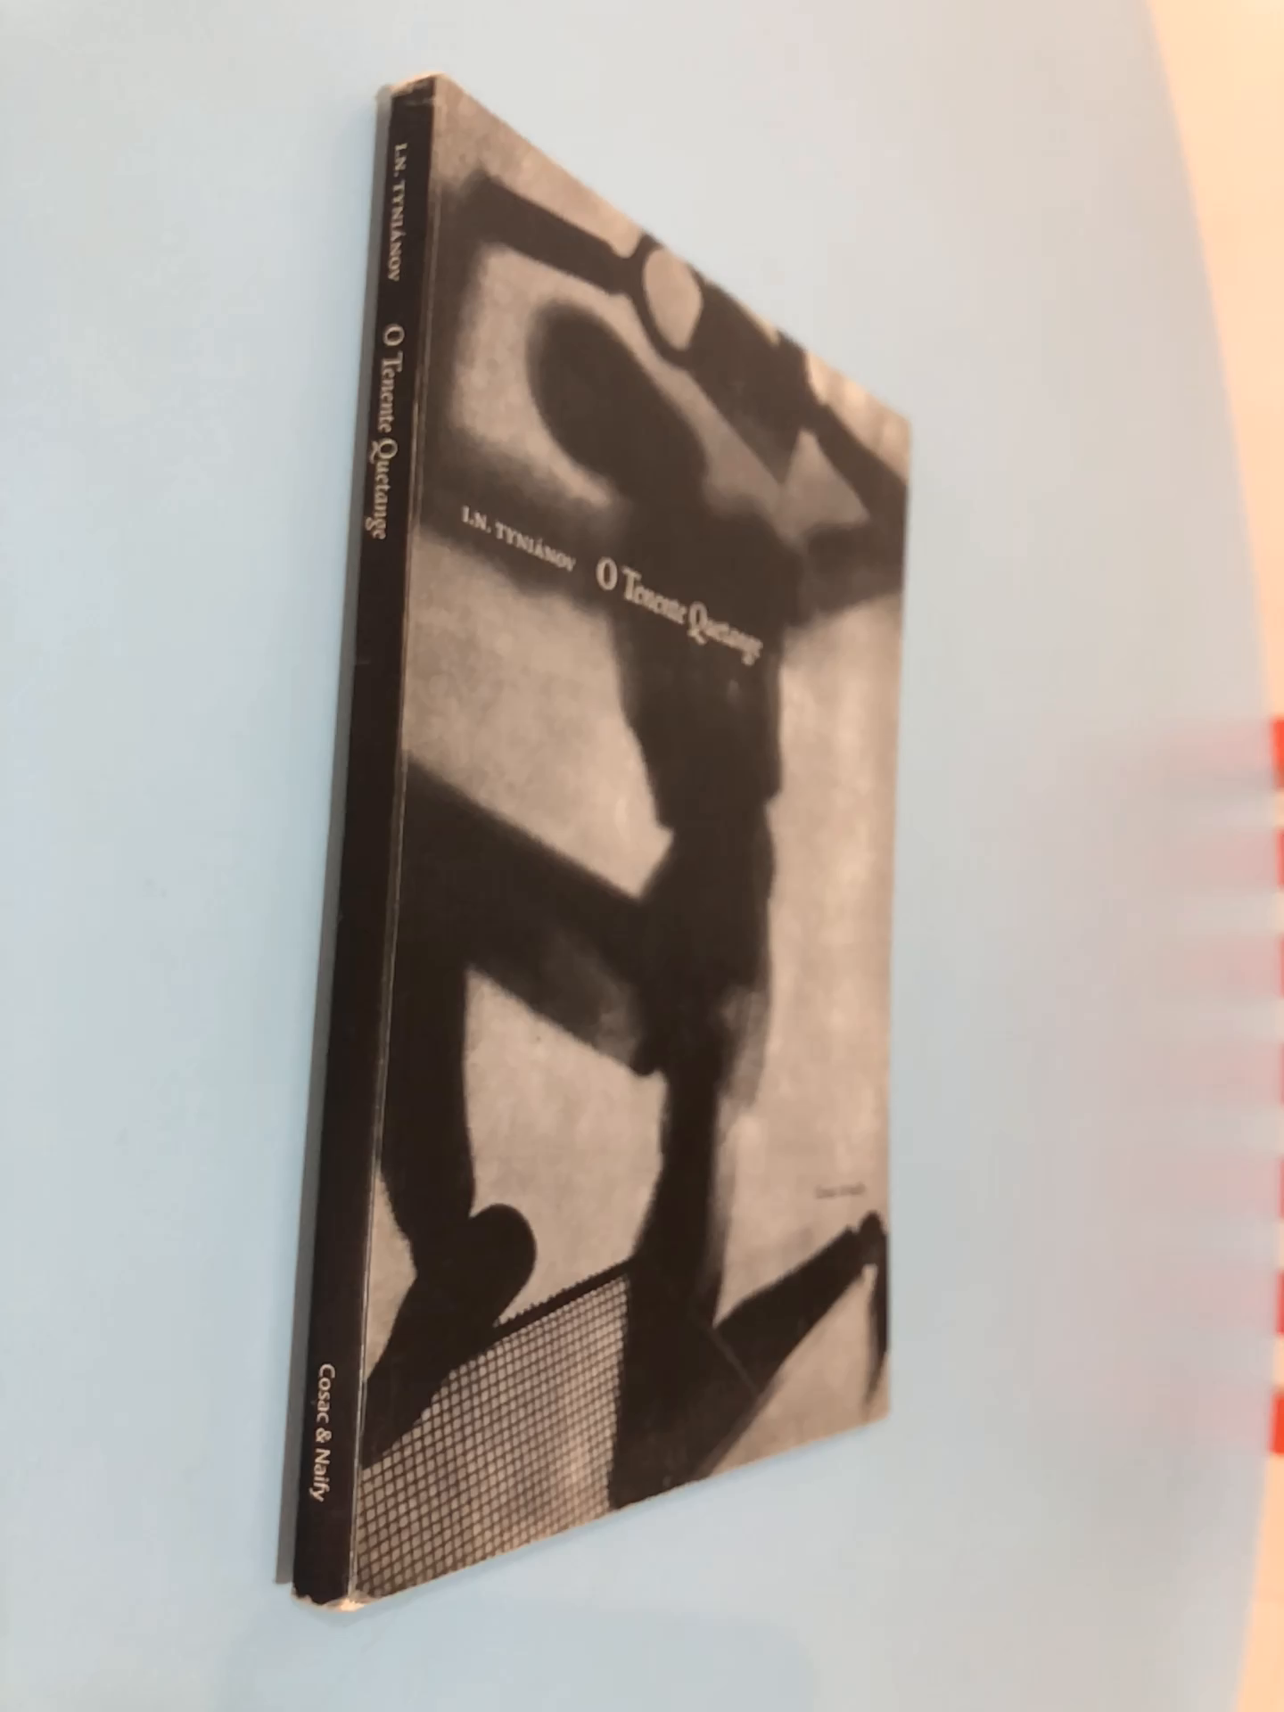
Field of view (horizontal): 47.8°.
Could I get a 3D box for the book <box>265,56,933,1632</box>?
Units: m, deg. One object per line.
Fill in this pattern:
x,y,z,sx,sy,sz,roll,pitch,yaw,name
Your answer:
0.007,0.001,0.236,0.135,0.016,0.196,13,77,-51,book
